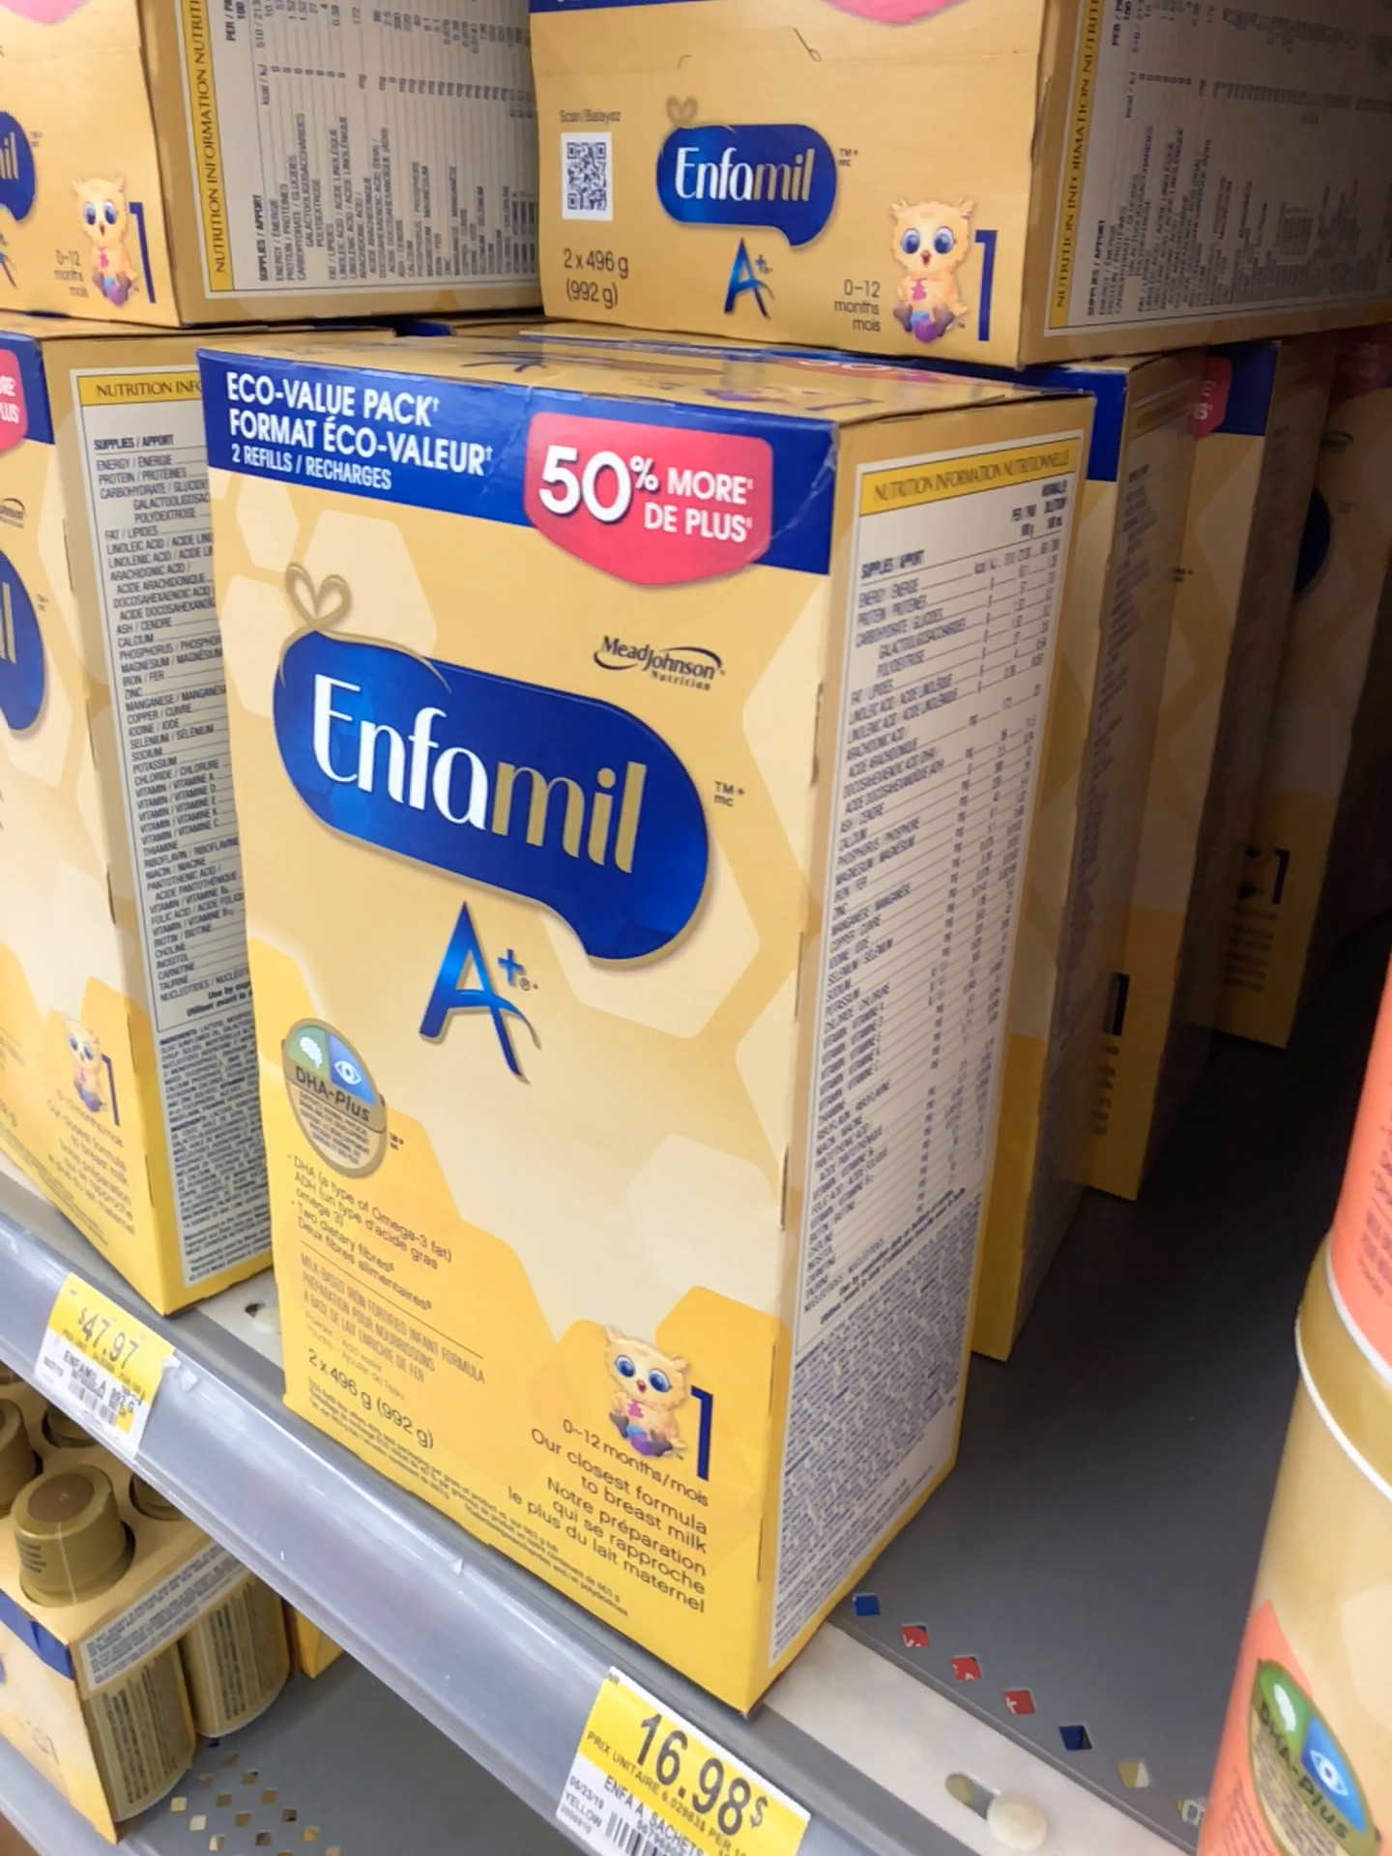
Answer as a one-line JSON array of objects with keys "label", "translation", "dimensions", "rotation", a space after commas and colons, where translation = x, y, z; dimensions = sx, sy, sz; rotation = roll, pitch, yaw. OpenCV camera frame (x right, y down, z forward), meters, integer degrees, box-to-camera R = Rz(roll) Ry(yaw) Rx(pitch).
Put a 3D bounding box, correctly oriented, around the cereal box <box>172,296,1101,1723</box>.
[{"label": "cereal box", "translation": [-0.018, 0.009, 0.329], "dimensions": [0.150, 0.258, 0.080], "rotation": [18, 28, 33]}]
